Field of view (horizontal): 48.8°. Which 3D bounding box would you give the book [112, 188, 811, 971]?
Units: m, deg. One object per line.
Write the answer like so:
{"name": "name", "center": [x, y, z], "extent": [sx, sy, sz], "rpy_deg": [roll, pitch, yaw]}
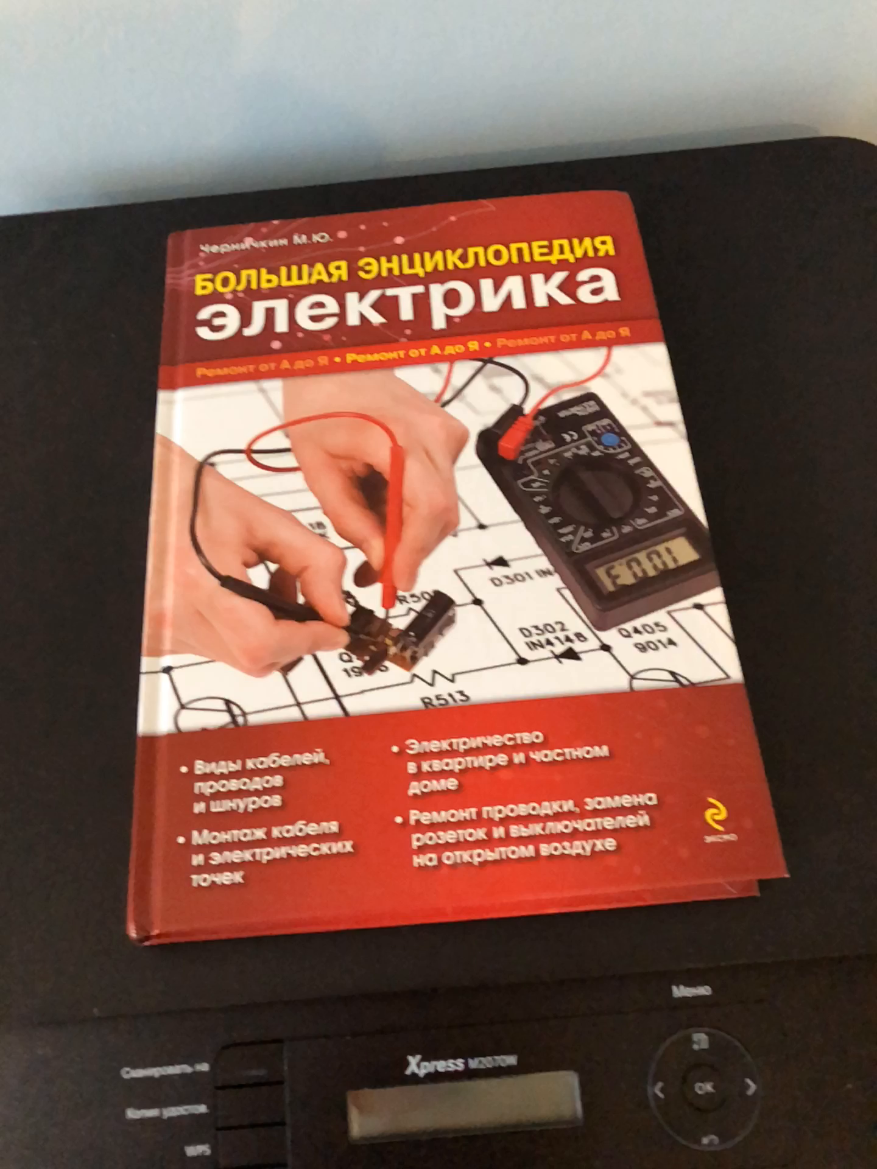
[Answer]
{"name": "book", "center": [-0.002, -0.015, 0.305], "extent": [0.170, 0.040, 0.241], "rpy_deg": [-5, 64, 1]}
